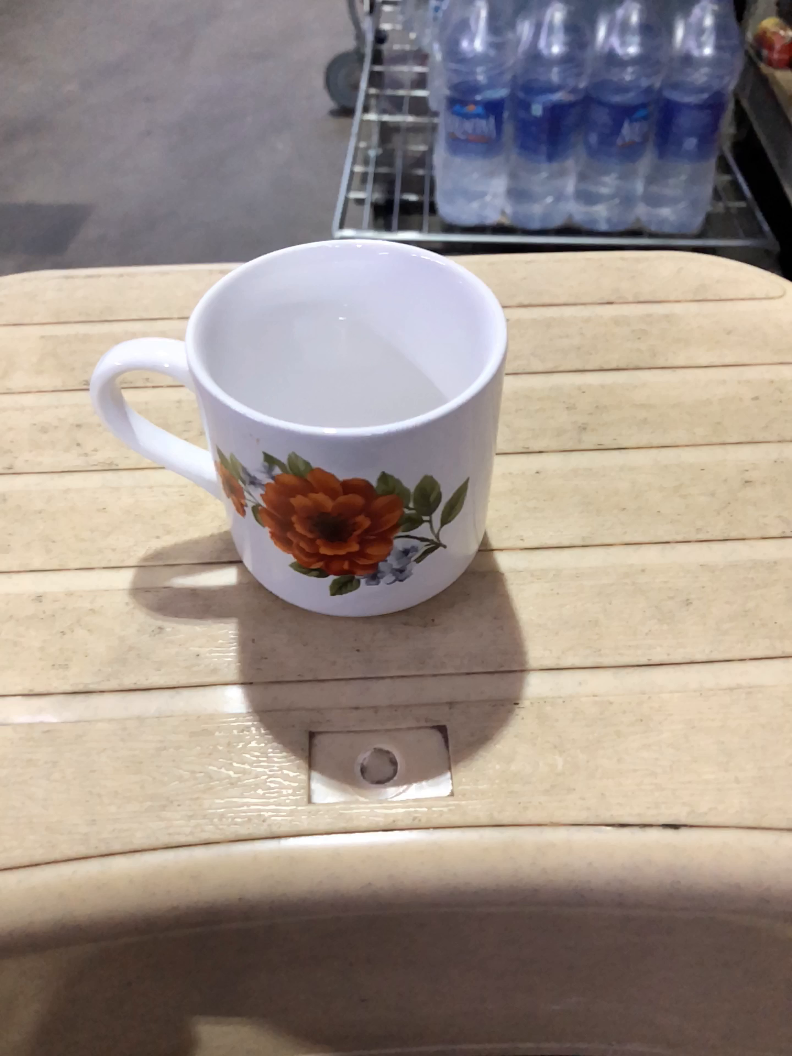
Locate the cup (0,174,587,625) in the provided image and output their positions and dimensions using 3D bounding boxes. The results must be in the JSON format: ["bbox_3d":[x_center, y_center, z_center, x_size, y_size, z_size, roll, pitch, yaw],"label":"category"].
[{"bbox_3d":[-0.017,-0.028,0.187,0.100,0.060,0.070,3,47,3],"label":"cup"}]
